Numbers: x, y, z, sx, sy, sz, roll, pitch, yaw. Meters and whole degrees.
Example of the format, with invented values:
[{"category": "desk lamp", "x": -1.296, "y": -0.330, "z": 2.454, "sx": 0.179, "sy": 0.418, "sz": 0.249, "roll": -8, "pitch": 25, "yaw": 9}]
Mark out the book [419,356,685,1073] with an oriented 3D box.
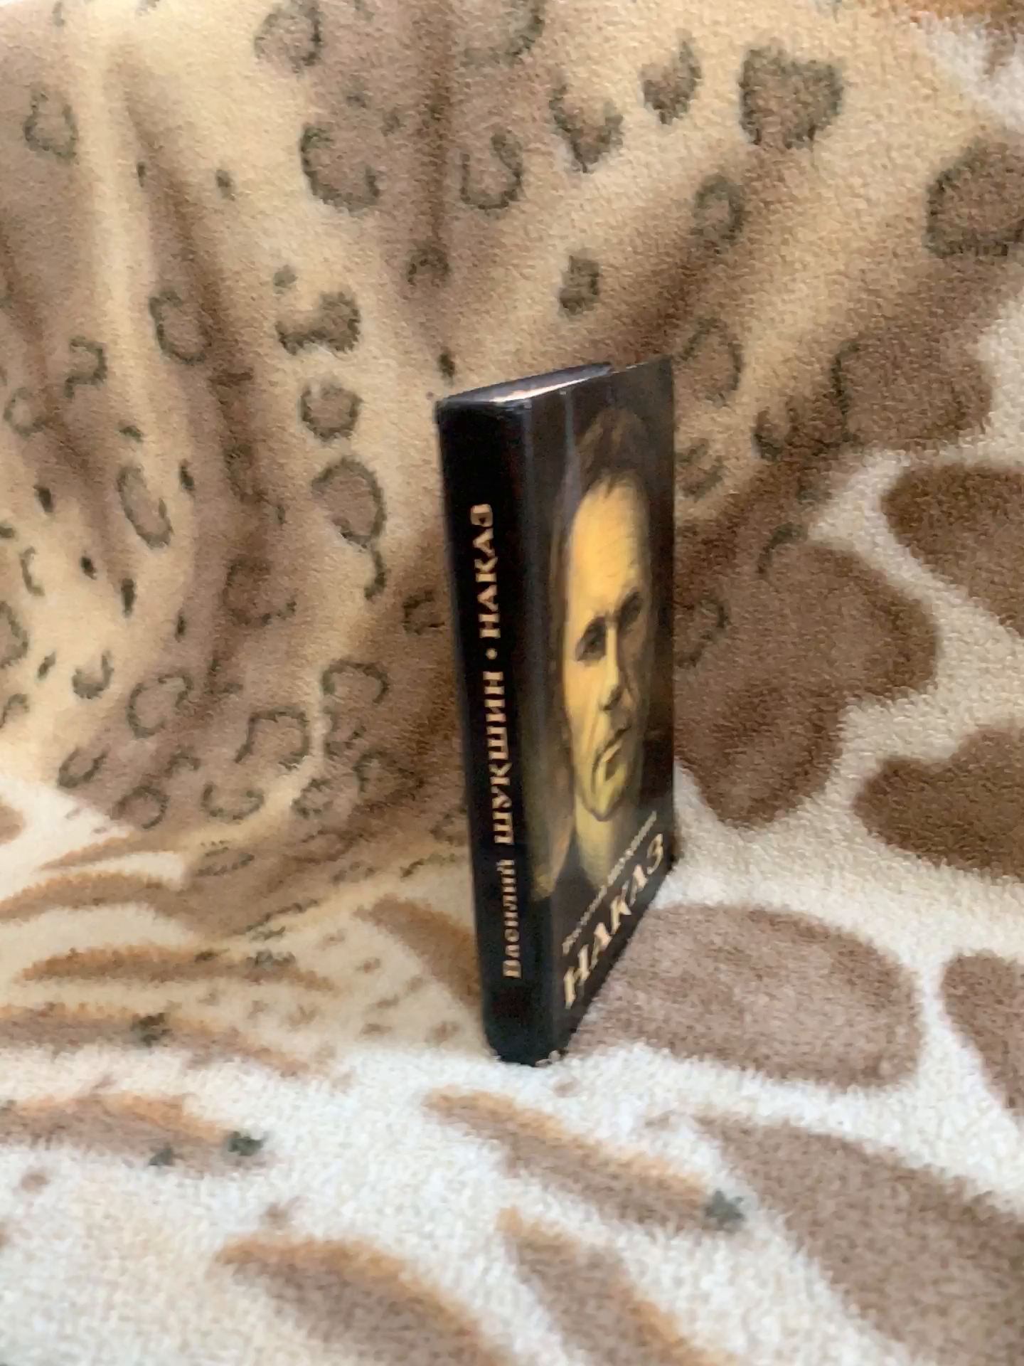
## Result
[{"category": "book", "x": 0.023, "y": 0.002, "z": 0.350, "sx": 0.030, "sy": 0.199, "sz": 0.131, "roll": 7, "pitch": 23, "yaw": 25}]
